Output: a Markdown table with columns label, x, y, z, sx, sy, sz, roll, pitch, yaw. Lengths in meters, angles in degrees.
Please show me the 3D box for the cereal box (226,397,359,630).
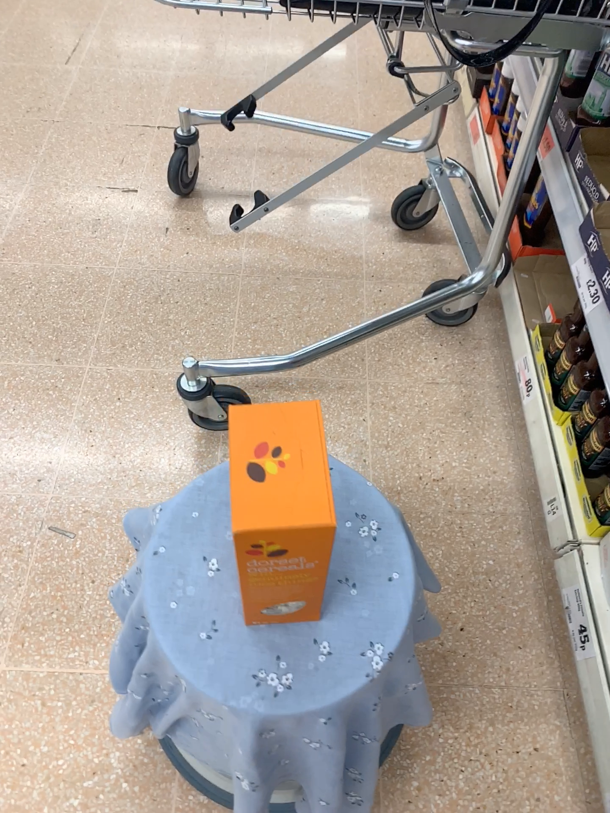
| label | x | y | z | sx | sy | sz | roll | pitch | yaw |
| --- | --- | --- | --- | --- | --- | --- | --- | --- | --- |
| cereal box | -0.017 | 0.109 | 0.574 | 0.090 | 0.228 | 0.121 | -5 | 56 | -6 |
